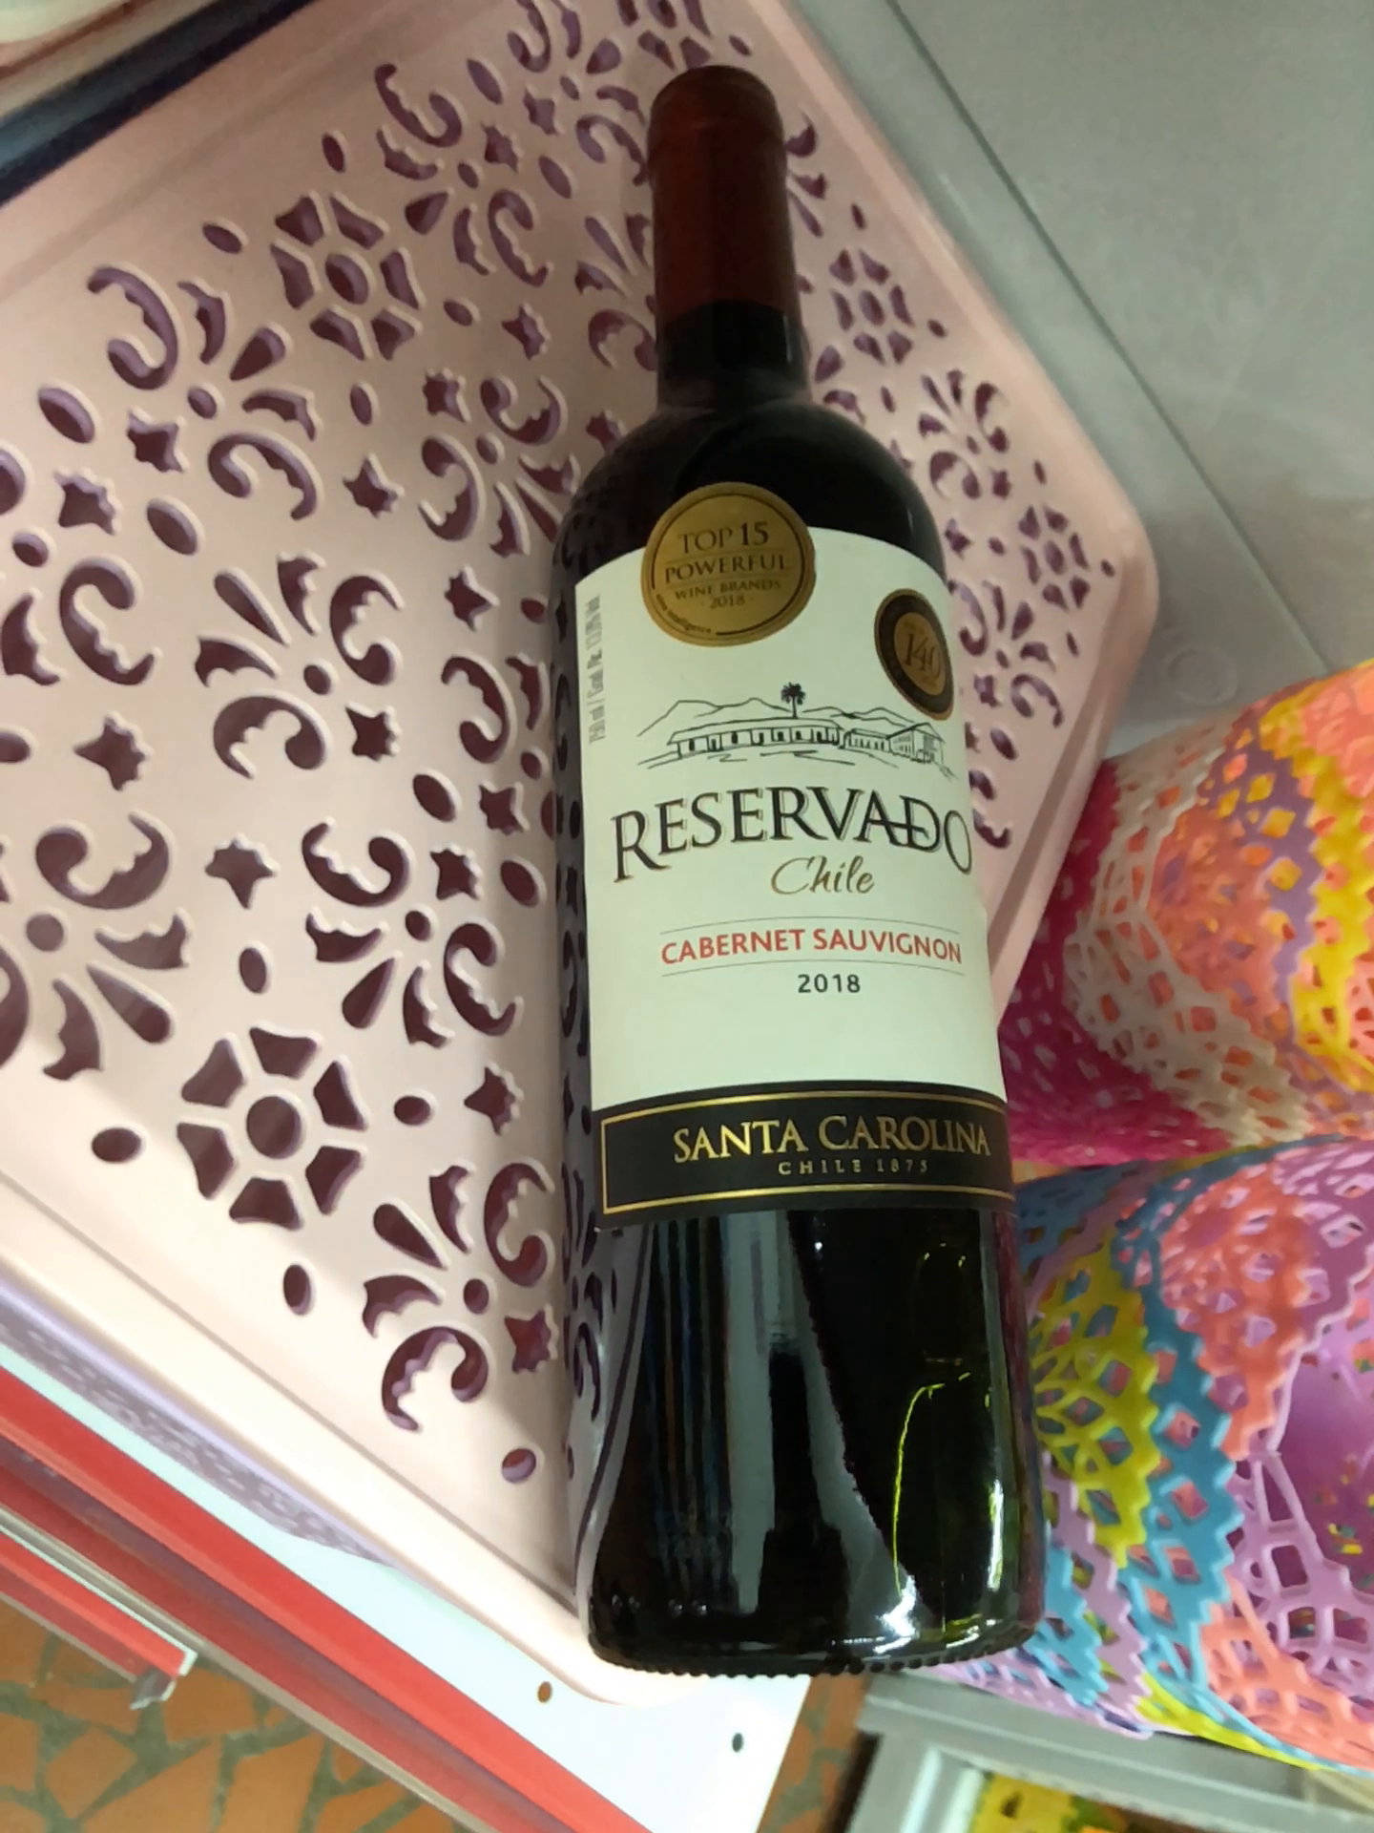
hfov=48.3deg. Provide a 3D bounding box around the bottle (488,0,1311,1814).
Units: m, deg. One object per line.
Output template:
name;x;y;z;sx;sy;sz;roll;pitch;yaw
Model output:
bottle;0.029;-0.043;0.294;0.111;0.070;0.350;10;69;-37
